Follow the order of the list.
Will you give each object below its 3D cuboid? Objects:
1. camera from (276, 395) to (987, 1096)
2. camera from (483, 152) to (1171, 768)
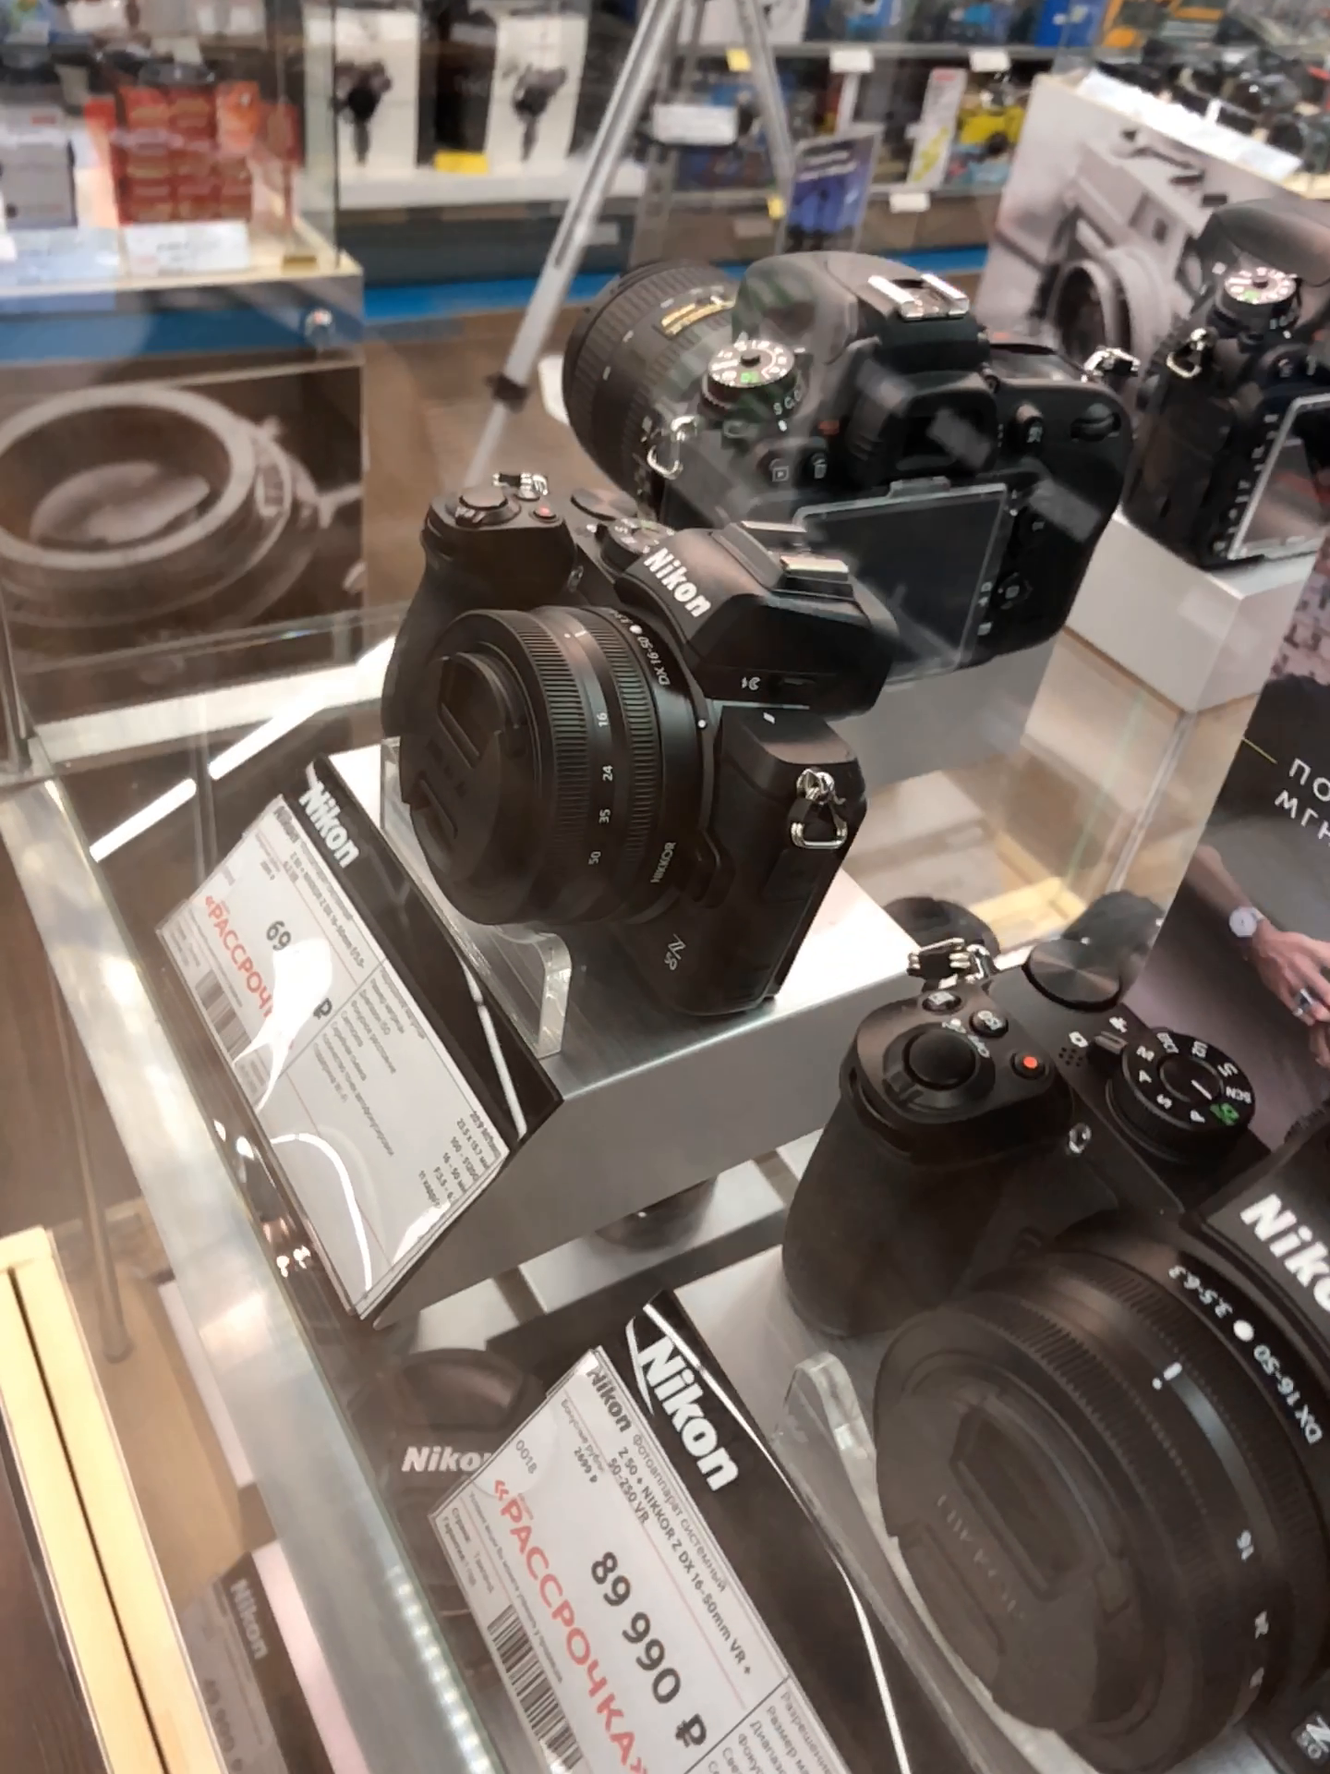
[{"bbox_3d":[-0.017,-0.037,0.337,0.090,0.092,0.127,-6,42,-35],"label":"camera"},{"bbox_3d":[0.037,-0.138,0.452,0.130,0.111,0.150,-14,49,-25],"label":"camera"}]
